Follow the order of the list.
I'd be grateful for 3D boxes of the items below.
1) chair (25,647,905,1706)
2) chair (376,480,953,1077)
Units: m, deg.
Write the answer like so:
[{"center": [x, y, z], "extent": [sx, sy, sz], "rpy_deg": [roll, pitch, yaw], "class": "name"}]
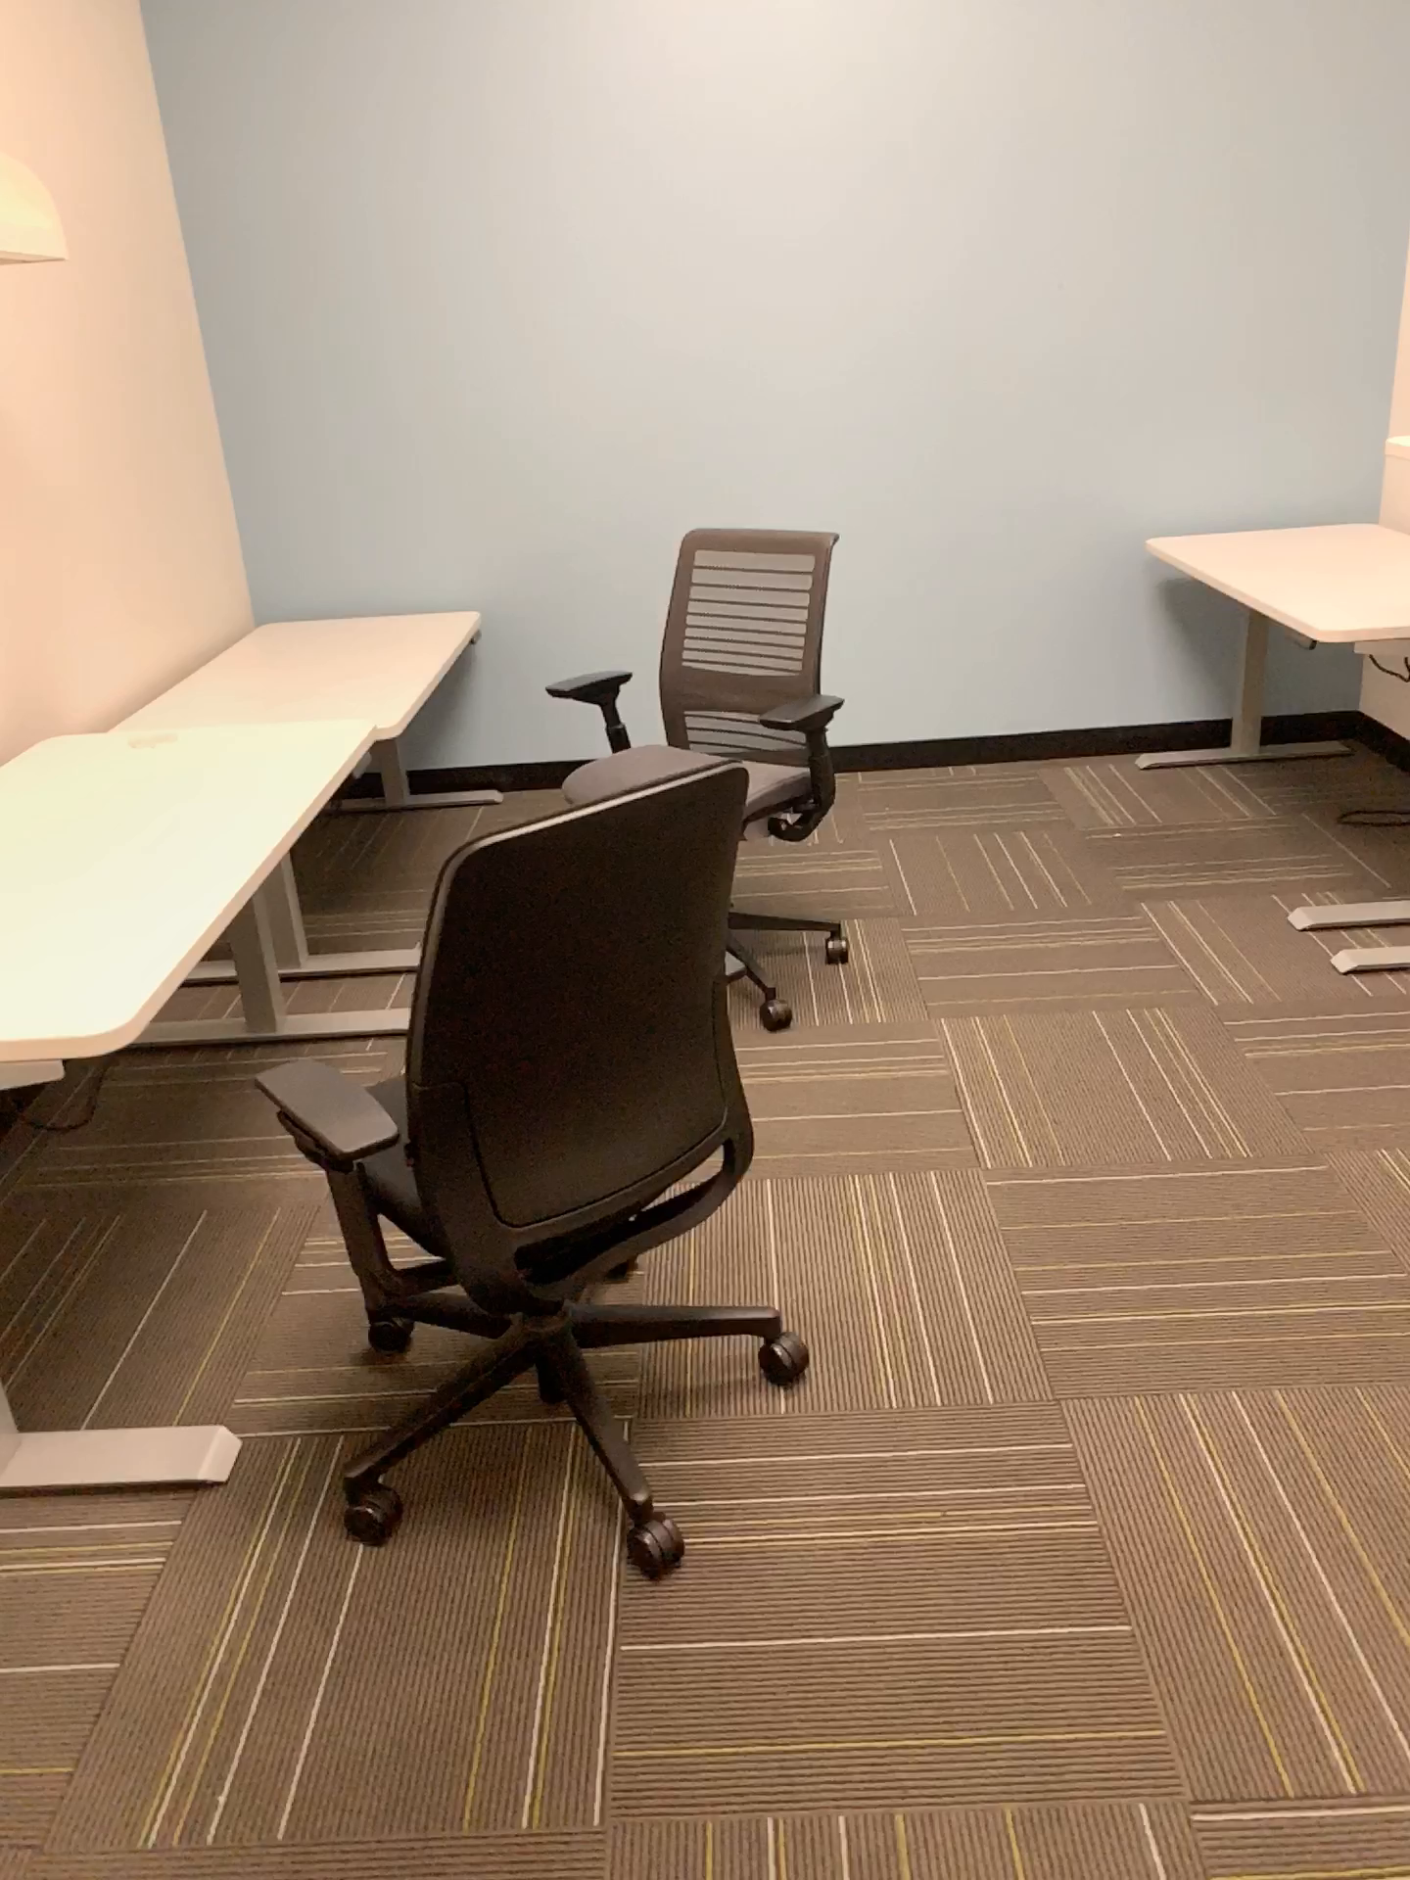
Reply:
[{"center": [-0.266, 0.195, 1.846], "extent": [0.773, 0.935, 0.681], "rpy_deg": [18, 31, 42], "class": "chair"}, {"center": [-0.057, -0.423, 3.107], "extent": [0.893, 0.995, 0.771], "rpy_deg": [17, 30, 40], "class": "chair"}]
